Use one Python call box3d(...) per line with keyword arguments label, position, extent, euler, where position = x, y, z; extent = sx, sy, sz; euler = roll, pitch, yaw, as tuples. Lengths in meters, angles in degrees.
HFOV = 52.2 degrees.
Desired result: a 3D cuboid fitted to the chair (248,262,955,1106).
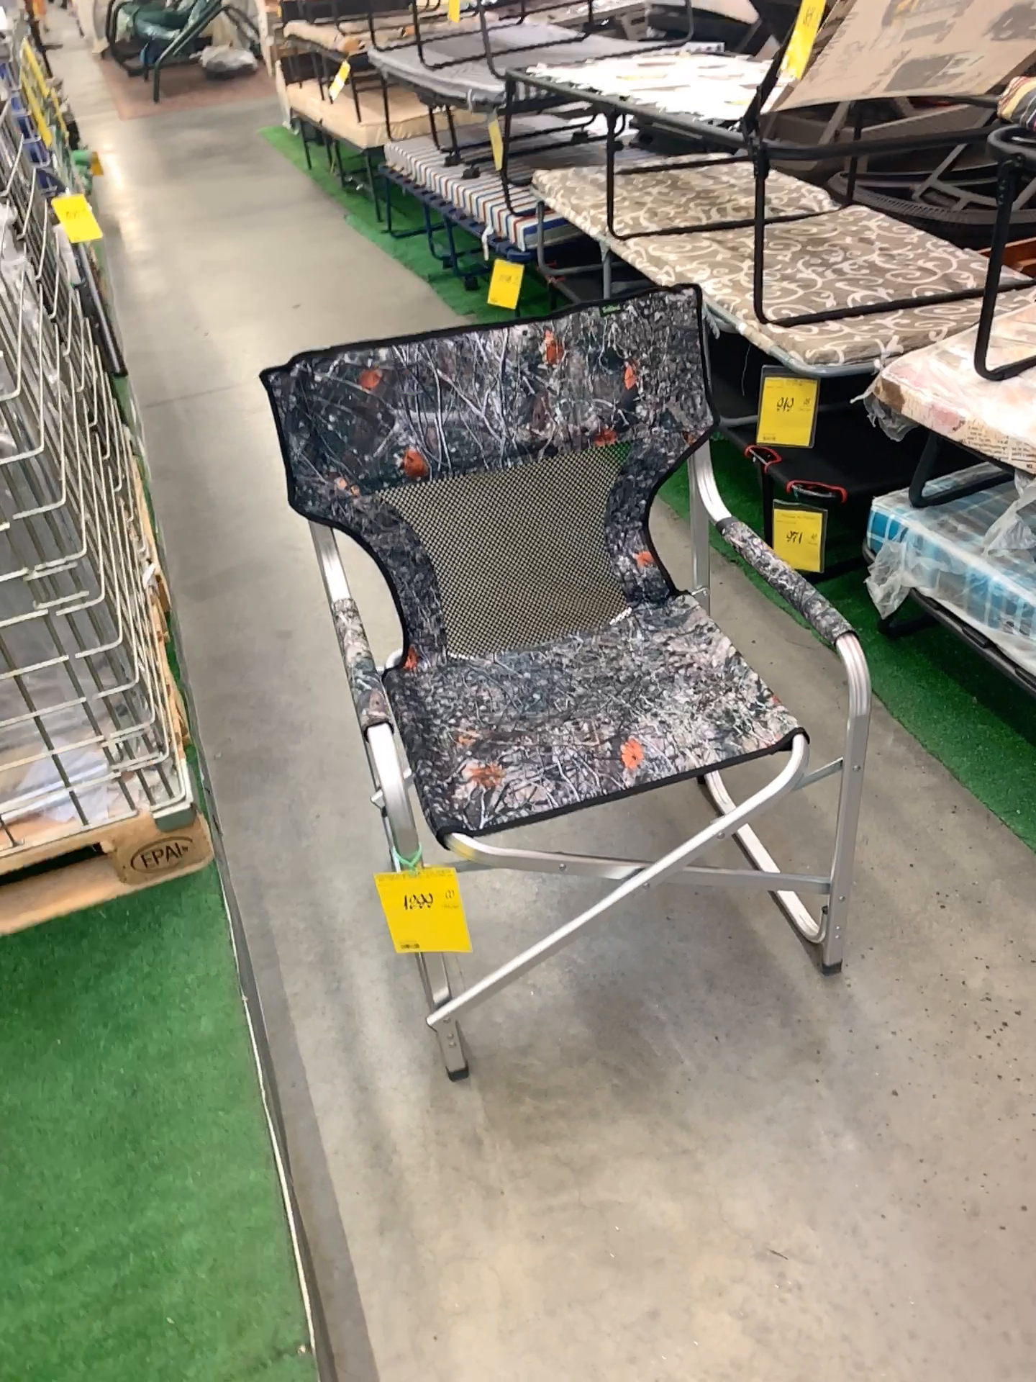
box3d(label="chair", position=(0.074, -0.024, 1.453), extent=(0.650, 0.836, 0.613), euler=(-14, 37, -7))
